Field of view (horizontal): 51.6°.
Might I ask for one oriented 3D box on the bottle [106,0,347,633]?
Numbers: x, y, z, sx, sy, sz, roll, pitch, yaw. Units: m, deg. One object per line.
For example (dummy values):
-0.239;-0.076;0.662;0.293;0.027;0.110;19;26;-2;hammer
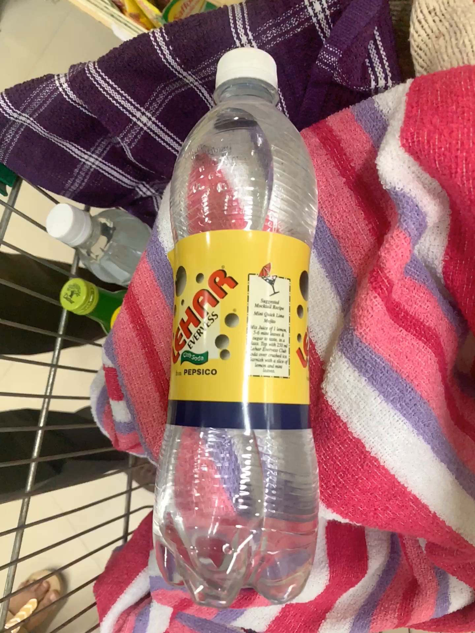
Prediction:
0.003;-0.012;0.212;0.070;0.070;0.240;-3;79;25;bottle
